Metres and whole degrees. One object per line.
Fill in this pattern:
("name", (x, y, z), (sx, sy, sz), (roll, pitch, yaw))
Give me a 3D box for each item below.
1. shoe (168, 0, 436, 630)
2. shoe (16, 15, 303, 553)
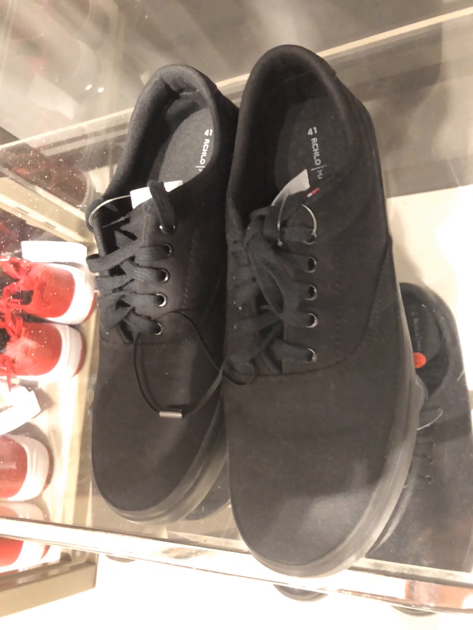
("shoe", (0.049, -0.010, 0.316), (0.110, 0.110, 0.320), (-4, 75, 27))
("shoe", (-0.040, -0.023, 0.373), (0.110, 0.110, 0.320), (2, 77, 28))
